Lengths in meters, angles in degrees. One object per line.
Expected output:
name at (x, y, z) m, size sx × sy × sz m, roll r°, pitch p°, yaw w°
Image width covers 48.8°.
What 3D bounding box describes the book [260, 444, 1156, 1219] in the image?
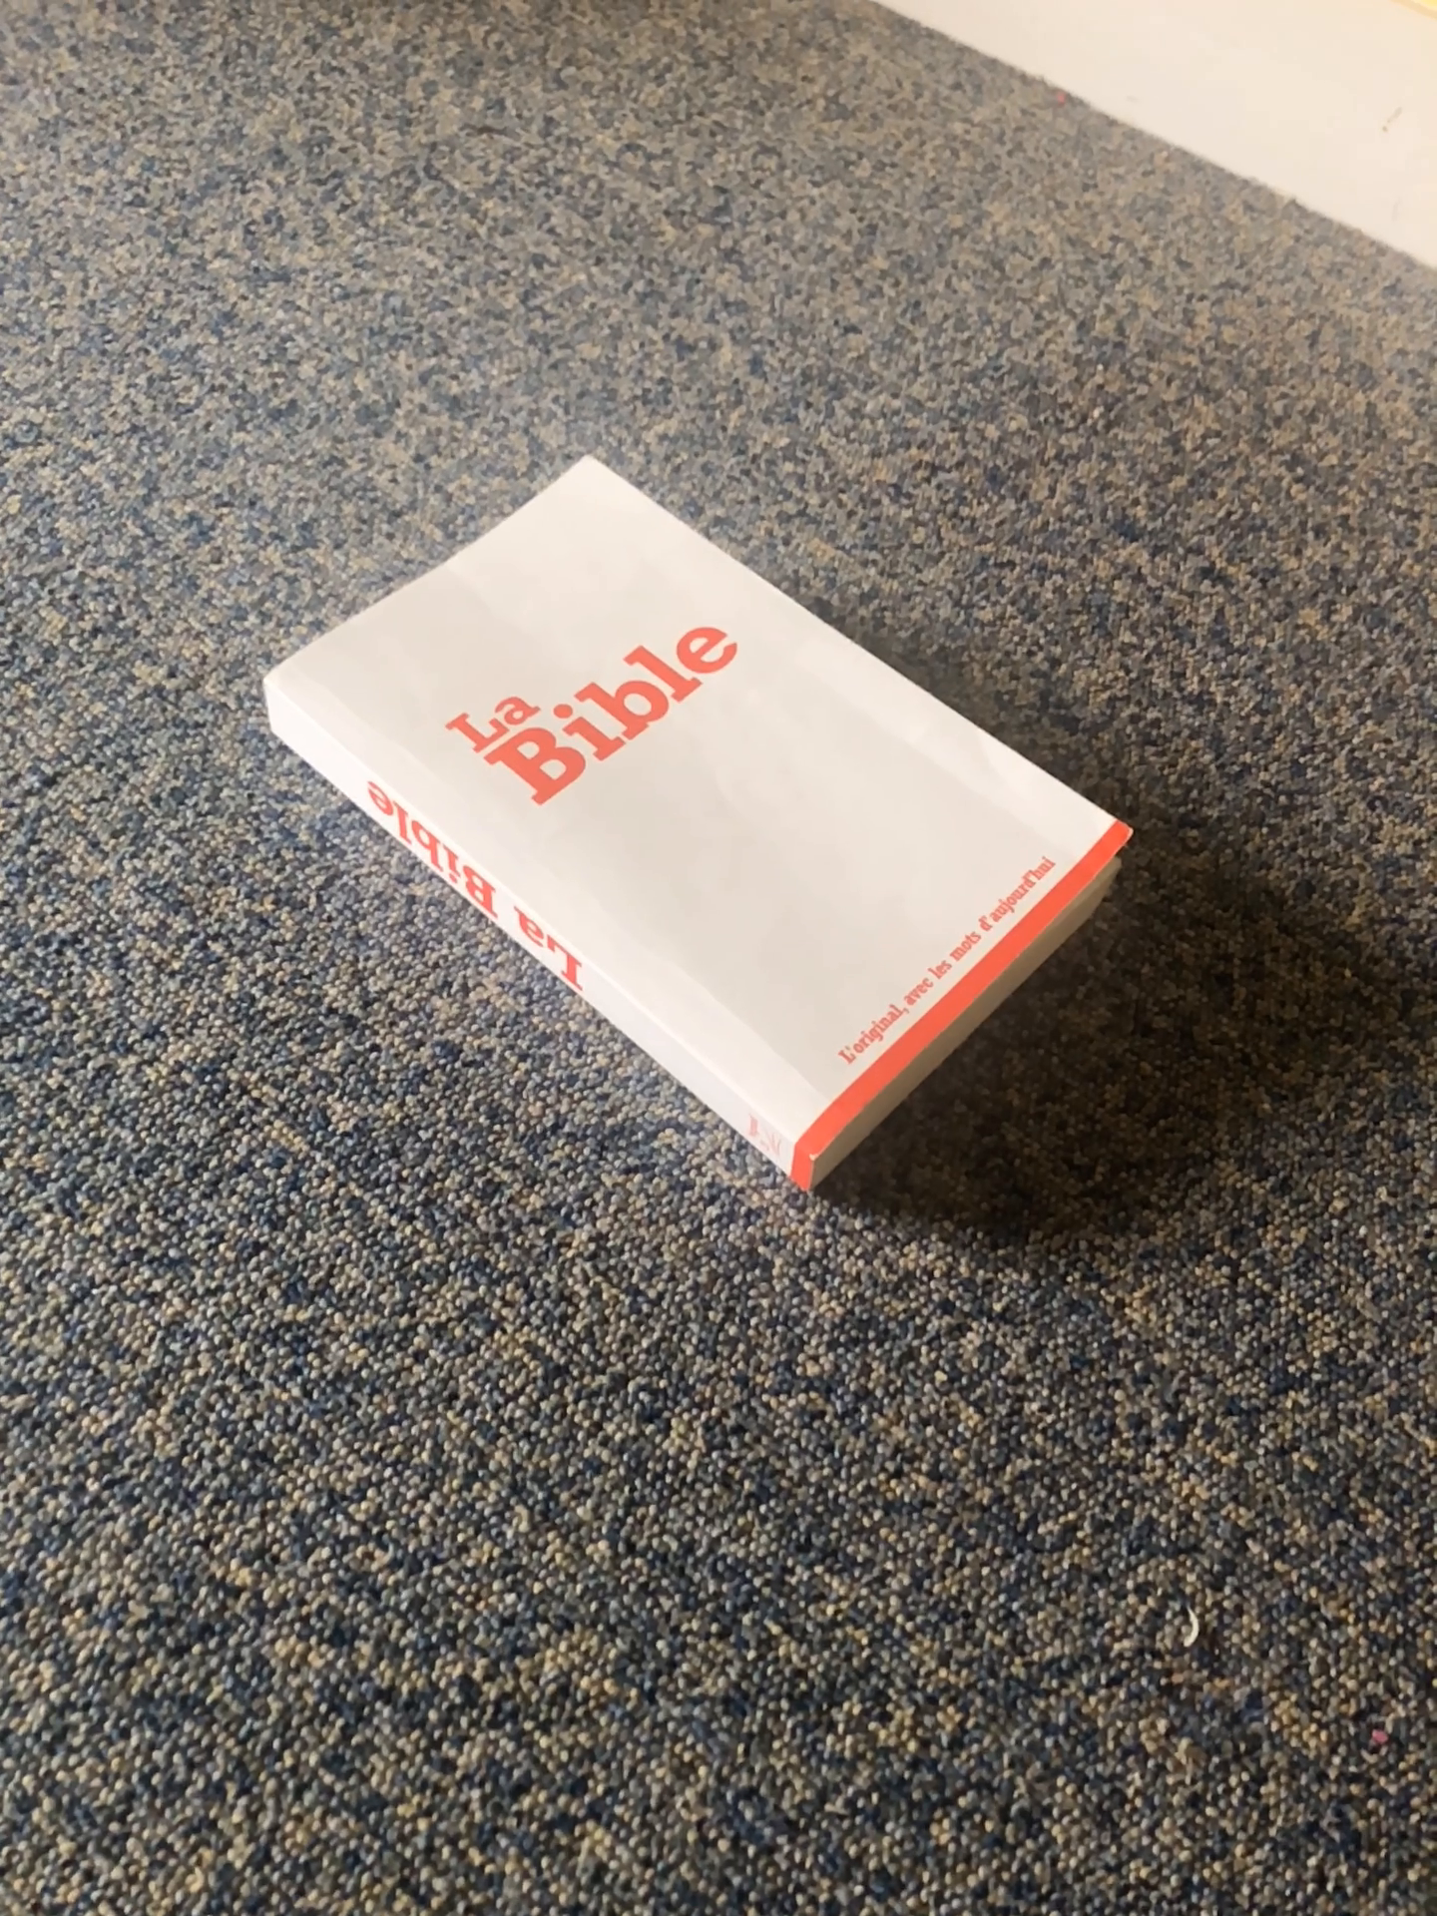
book at (-0.006, -0.047, 0.449) m, size 0.211 × 0.042 × 0.134 m, roll 39°, pitch 61°, yaw 19°
